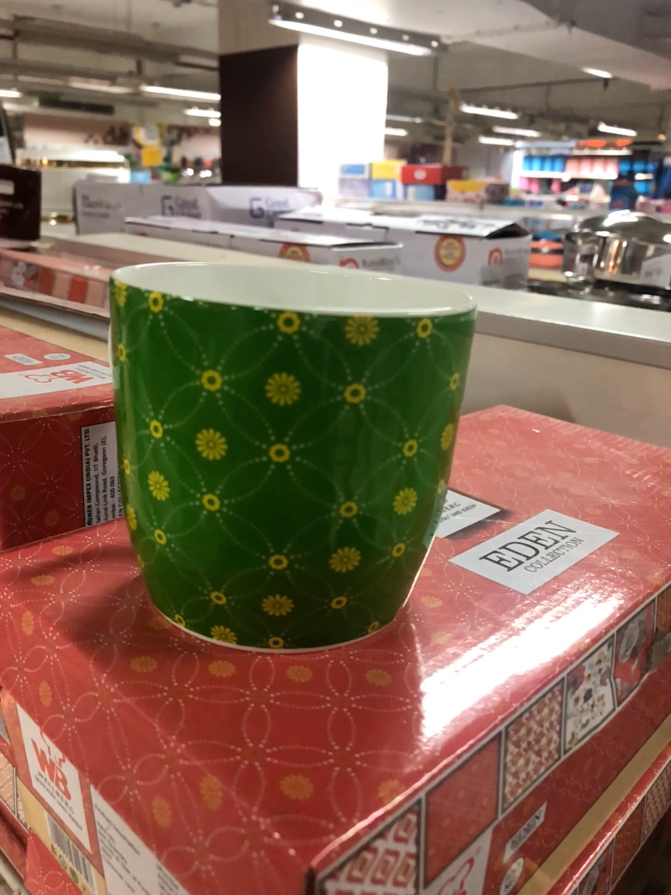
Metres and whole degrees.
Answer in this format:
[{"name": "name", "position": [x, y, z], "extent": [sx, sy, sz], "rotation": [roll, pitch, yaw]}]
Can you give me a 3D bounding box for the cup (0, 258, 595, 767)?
[{"name": "cup", "position": [-0.015, -0.003, 0.196], "extent": [0.120, 0.080, 0.090], "rotation": [19, 24, 41]}]
